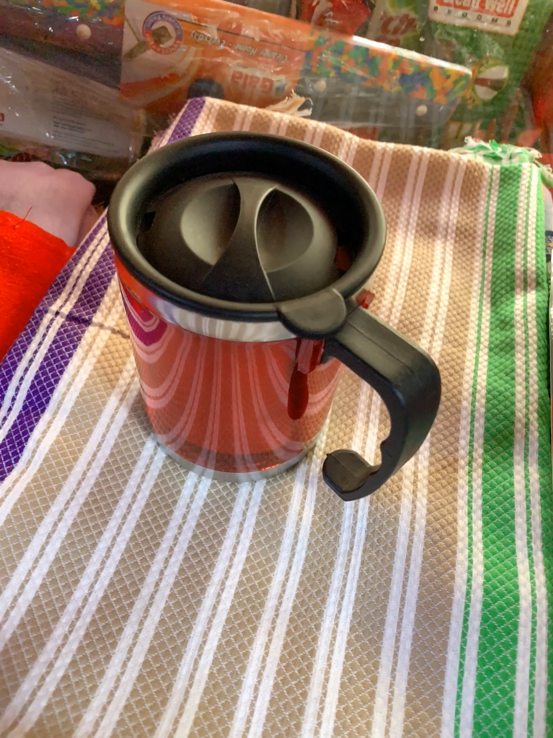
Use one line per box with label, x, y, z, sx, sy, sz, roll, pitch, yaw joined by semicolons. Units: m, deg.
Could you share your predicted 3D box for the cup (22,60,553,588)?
cup;0.003;-0.020;0.208;0.130;0.103;0.100;38;58;20
